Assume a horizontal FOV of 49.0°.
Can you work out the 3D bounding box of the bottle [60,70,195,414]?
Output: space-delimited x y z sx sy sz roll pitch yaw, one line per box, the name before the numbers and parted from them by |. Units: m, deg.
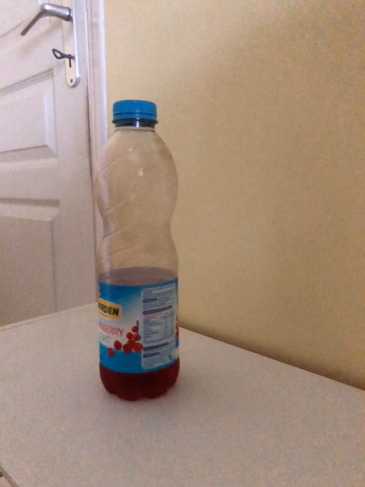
bottle | -0.049 -0.002 0.372 0.080 0.269 0.090 -7 9 -41
